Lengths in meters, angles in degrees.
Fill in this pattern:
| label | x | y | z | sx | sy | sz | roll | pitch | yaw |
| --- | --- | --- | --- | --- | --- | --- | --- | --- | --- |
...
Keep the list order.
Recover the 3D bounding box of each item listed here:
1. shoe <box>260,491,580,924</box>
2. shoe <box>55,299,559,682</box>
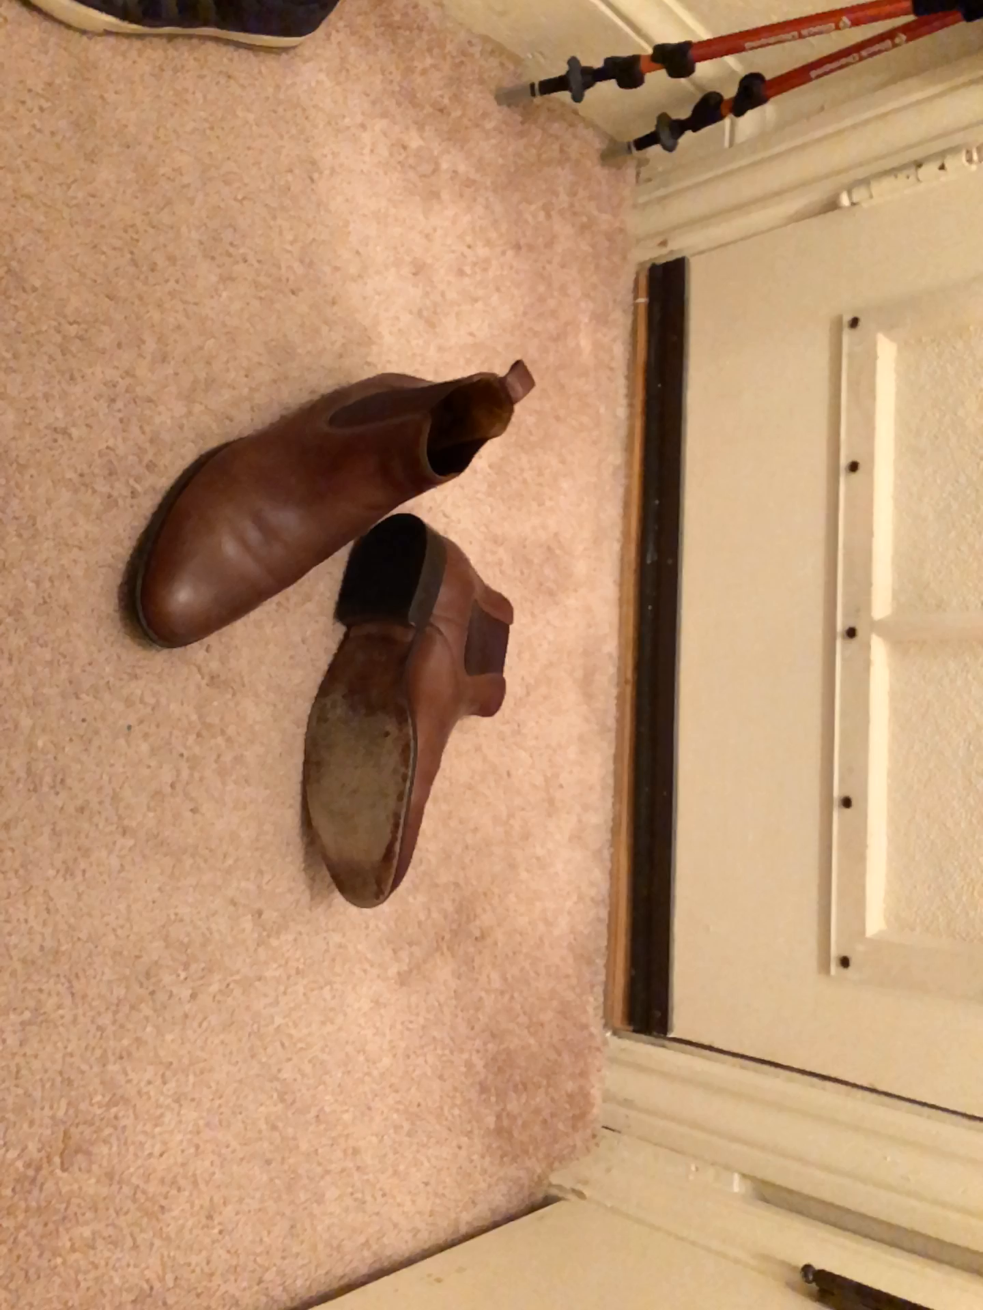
| label | x | y | z | sx | sy | sz | roll | pitch | yaw |
| --- | --- | --- | --- | --- | --- | --- | --- | --- | --- |
| shoe | -0.049 | 0.046 | 0.847 | 0.170 | 0.118 | 0.296 | 19 | 76 | -46 |
| shoe | -0.112 | -0.114 | 0.737 | 0.297 | 0.158 | 0.109 | -47 | 121 | -37 |
